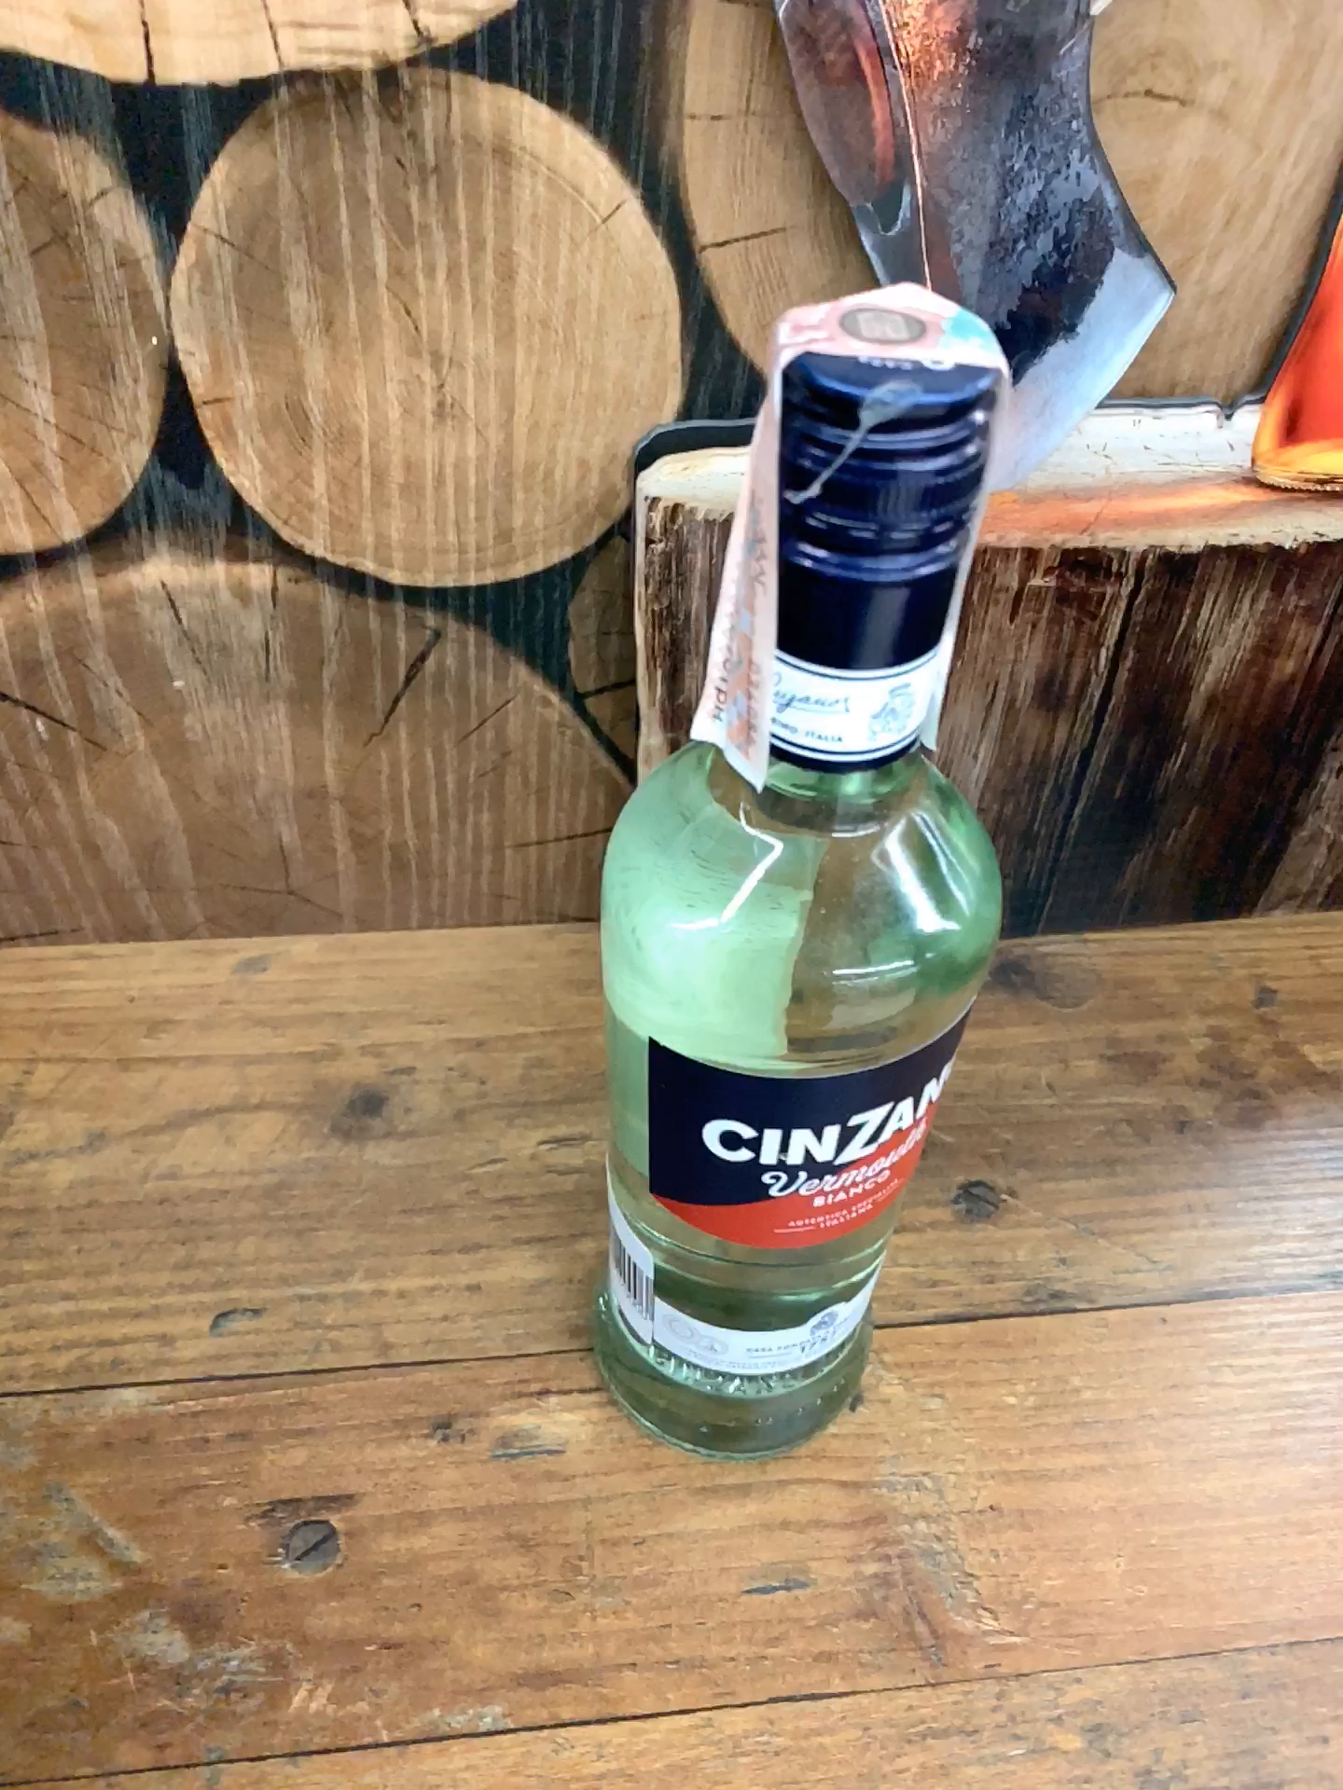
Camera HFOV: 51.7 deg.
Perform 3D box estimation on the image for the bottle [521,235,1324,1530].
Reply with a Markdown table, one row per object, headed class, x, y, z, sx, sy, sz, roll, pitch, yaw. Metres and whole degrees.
| class | x | y | z | sx | sy | sz | roll | pitch | yaw |
| --- | --- | --- | --- | --- | --- | --- | --- | --- | --- |
| bottle | 0.019 | 0.020 | 0.244 | 0.070 | 0.231 | 0.070 | 2 | 44 | -2 |
